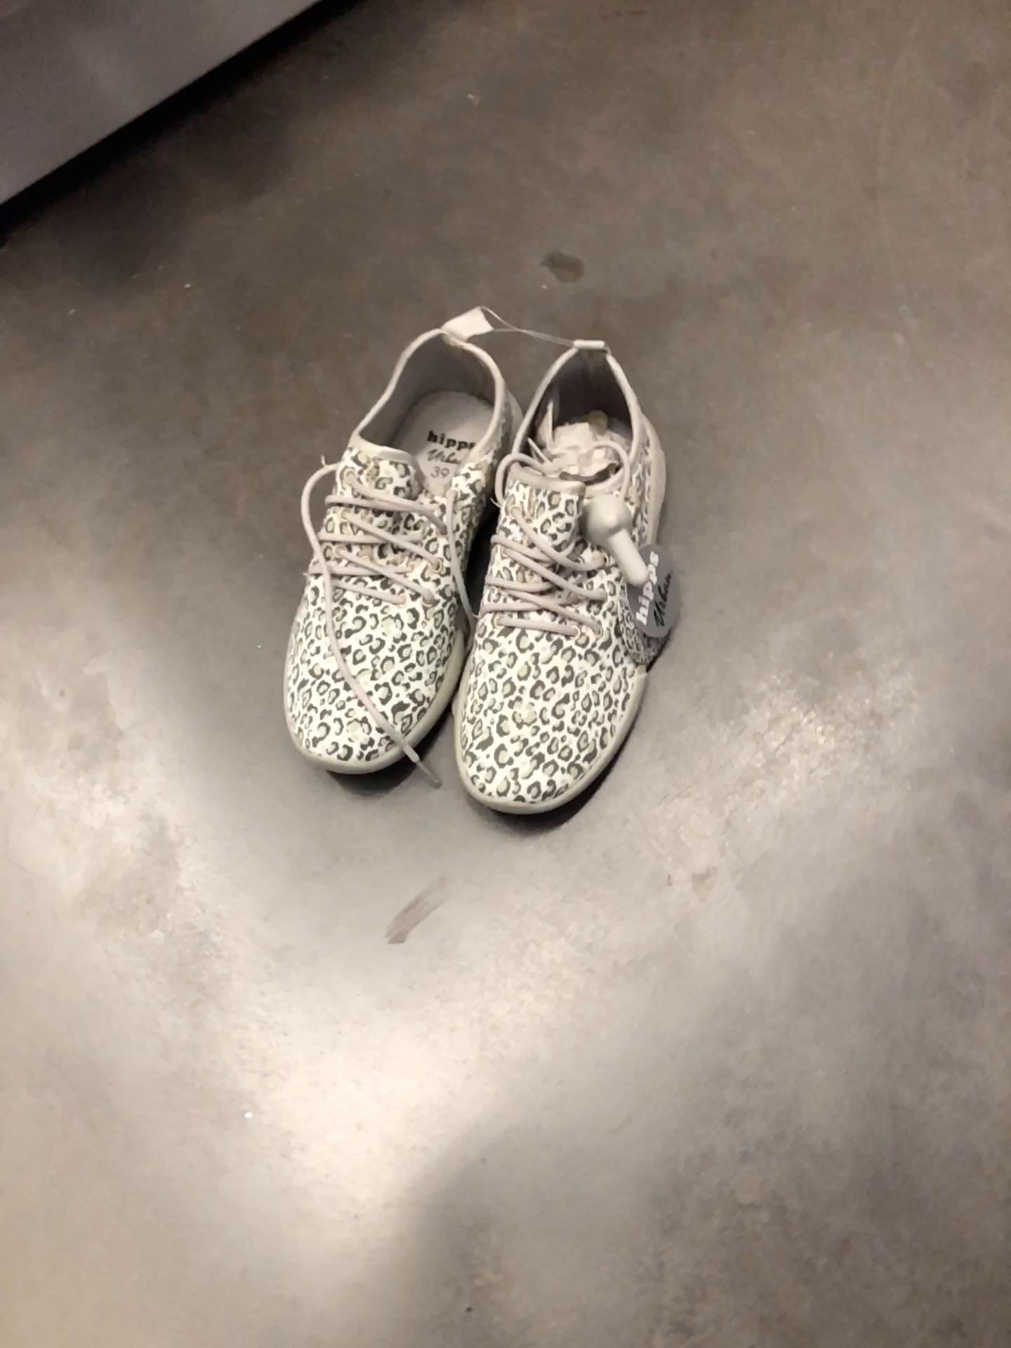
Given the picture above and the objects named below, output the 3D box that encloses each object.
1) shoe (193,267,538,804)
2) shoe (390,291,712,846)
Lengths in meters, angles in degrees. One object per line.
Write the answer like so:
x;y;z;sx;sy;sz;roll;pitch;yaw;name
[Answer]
-0.060;-0.074;0.582;0.100;0.100;0.251;11;68;8;shoe
0.030;-0.055;0.565;0.100;0.100;0.251;11;68;8;shoe
